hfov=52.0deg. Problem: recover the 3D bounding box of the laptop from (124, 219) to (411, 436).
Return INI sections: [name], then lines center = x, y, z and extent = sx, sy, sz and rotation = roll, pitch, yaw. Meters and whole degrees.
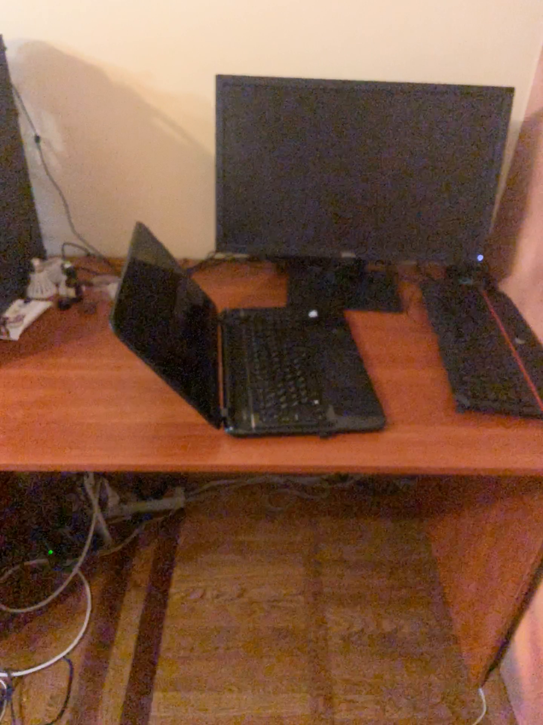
[laptop]
center = -0.023, -0.079, 0.914
extent = 0.368, 0.181, 0.368
rotation = -2, 34, -4
